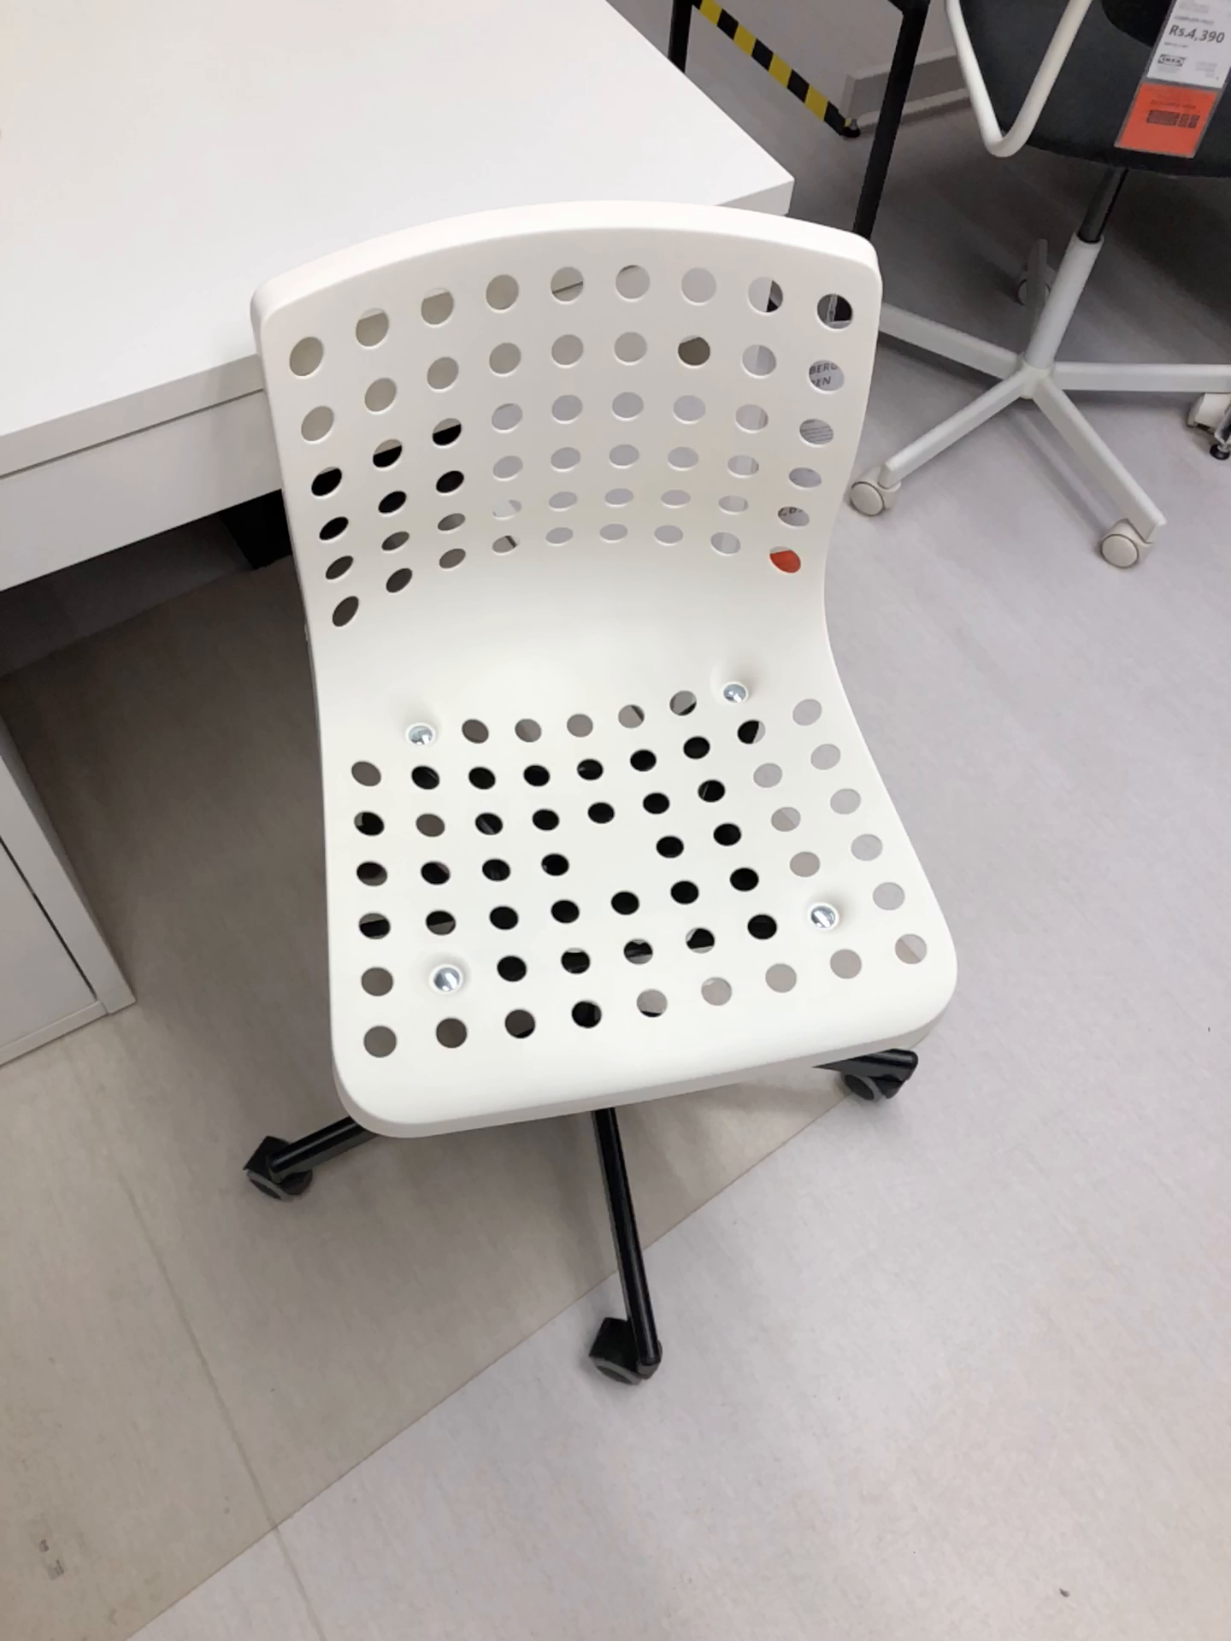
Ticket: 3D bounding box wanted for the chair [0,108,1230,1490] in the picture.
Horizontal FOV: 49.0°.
[{"bbox_3d":[-0.022,0.025,1.018,0.670,0.746,0.653,-8,58,-10],"label":"chair"}]
